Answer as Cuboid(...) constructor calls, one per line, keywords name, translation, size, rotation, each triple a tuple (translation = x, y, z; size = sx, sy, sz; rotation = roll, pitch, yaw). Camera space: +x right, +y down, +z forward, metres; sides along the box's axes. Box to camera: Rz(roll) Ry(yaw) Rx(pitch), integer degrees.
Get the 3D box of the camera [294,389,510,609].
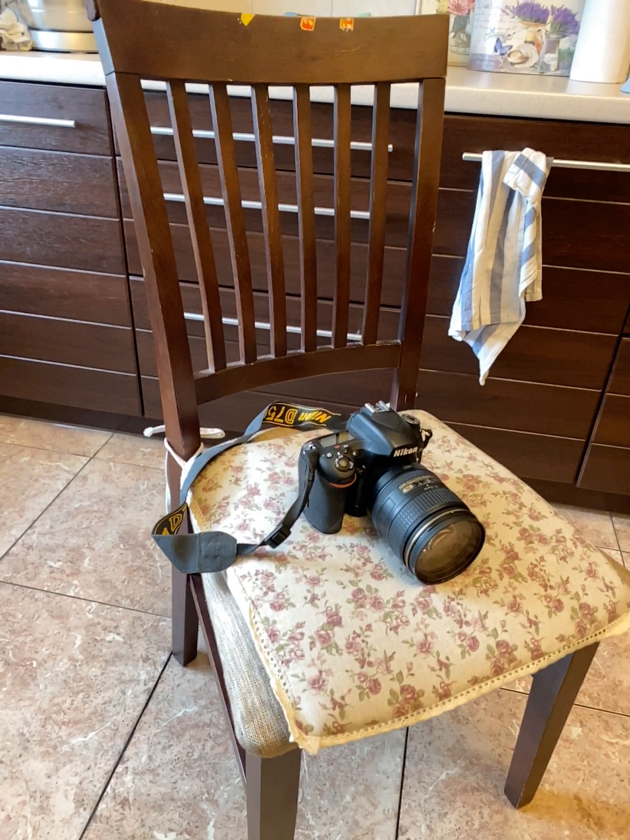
Cuboid(name="camera", translation=(0.077, 0.069, 0.645), size=(0.135, 0.119, 0.165), rotation=(-12, 34, -24))
